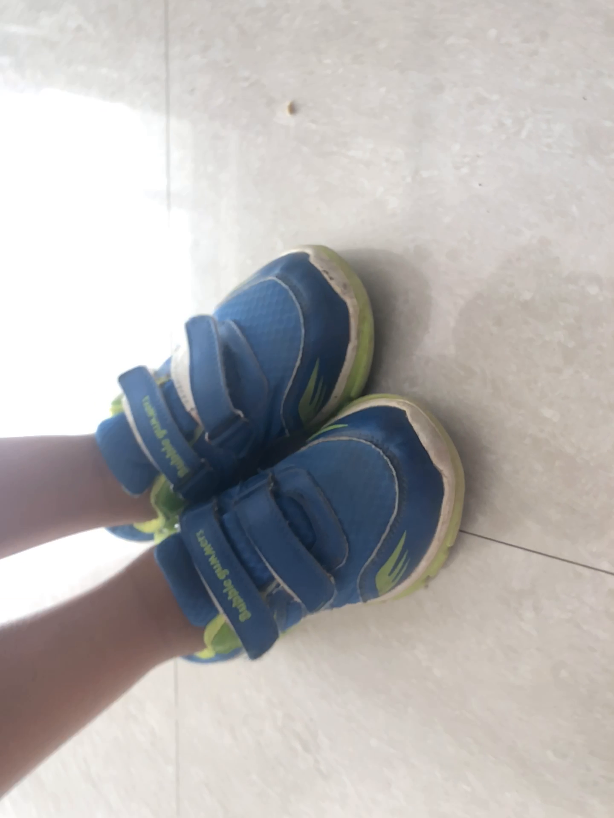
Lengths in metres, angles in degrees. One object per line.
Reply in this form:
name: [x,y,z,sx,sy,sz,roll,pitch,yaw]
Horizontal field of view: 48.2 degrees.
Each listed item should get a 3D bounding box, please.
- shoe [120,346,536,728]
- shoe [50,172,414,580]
shoe: [-0.007,0.074,0.351,0.221,0.060,0.090,-45,67,36]
shoe: [-0.055,-0.005,0.369,0.221,0.060,0.090,-46,66,36]
